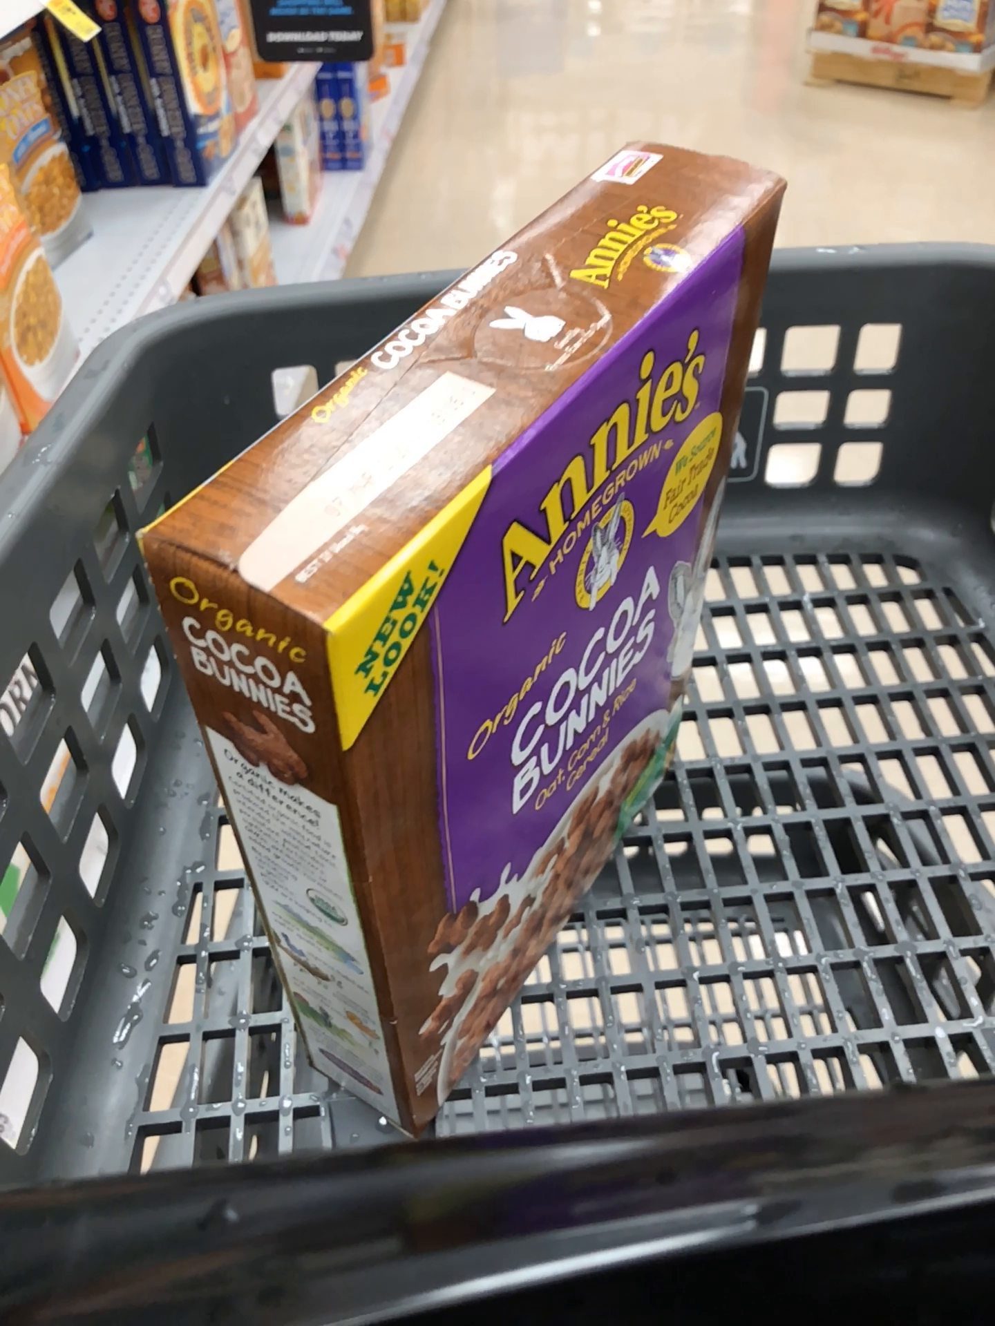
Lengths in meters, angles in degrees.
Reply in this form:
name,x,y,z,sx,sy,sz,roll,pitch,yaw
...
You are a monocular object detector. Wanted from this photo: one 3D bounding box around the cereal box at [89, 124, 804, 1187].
name,x,y,z,sx,sy,sz,roll,pitch,yaw
cereal box,0.008,0.006,0.322,0.050,0.239,0.200,23,51,23
